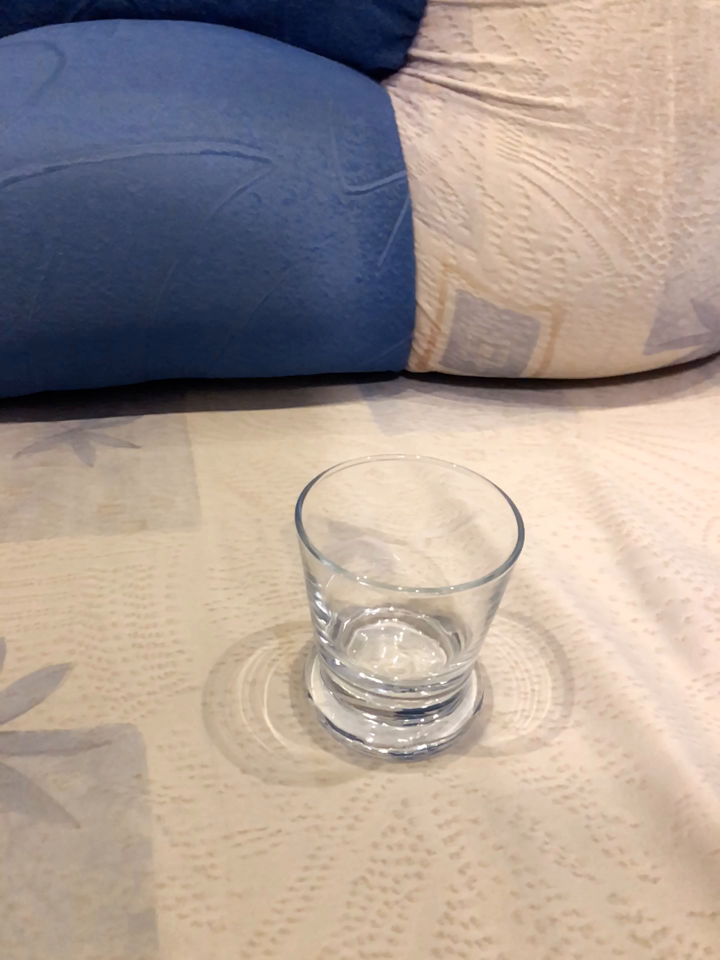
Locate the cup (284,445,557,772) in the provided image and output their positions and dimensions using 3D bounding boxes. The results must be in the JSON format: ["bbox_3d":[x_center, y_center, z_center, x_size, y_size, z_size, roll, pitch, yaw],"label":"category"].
[{"bbox_3d":[0.015,0.046,0.304,0.084,0.083,0.087,1,33,-1],"label":"cup"}]
